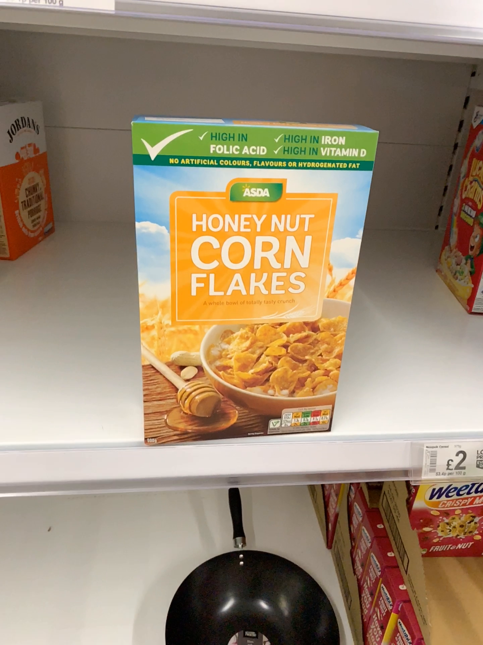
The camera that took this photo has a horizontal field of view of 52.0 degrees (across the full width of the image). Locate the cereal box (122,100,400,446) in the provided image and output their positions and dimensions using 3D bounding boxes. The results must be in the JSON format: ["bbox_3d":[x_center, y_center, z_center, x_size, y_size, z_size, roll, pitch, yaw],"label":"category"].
[{"bbox_3d":[0.004,-0.033,0.443,0.200,0.287,0.071,-1,27,-10],"label":"cereal box"}]
